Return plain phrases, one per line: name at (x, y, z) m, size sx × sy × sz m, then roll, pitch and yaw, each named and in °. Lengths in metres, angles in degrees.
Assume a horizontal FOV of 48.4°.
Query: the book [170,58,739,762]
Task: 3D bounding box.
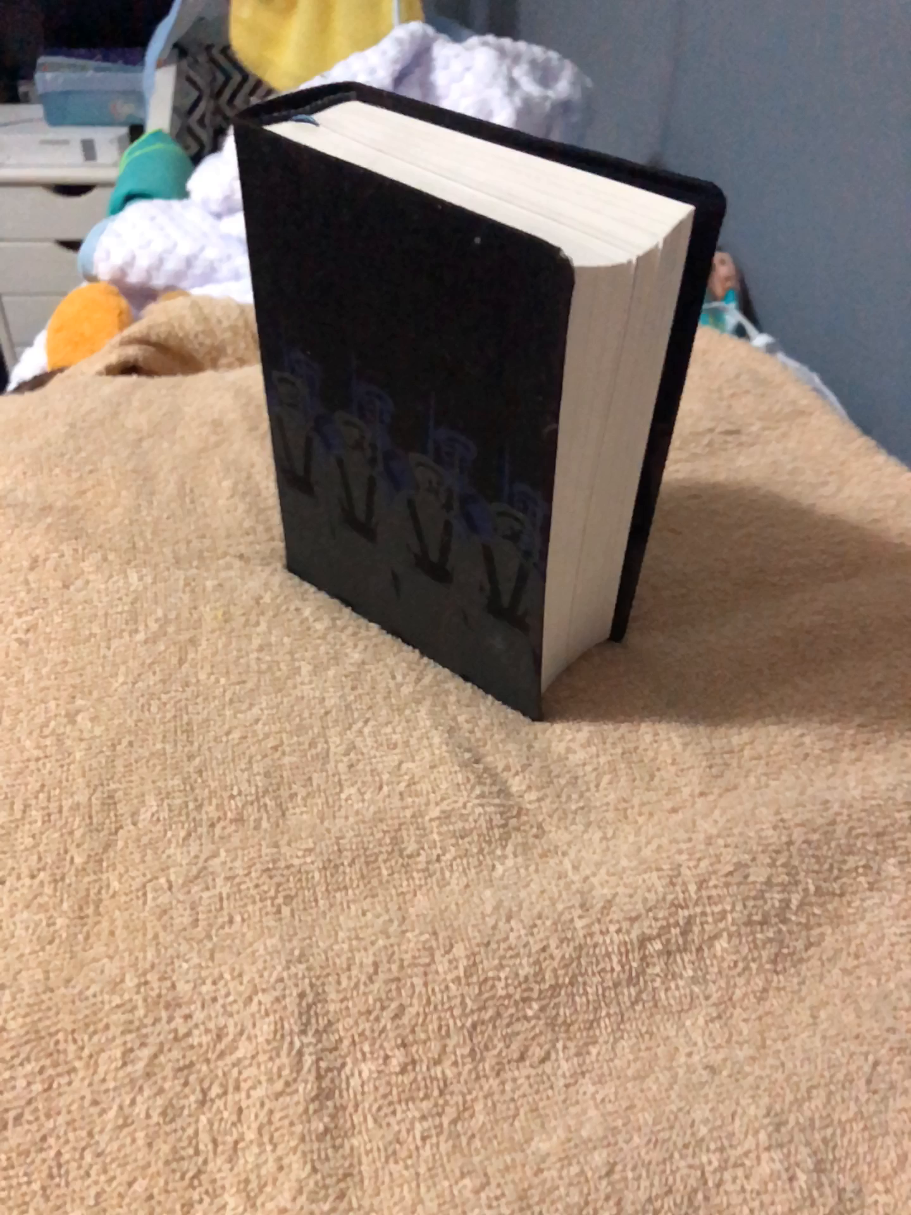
book at (-0.007, -0.062, 0.335) m, size 0.150 × 0.179 × 0.060 m, roll 30°, pitch 49°, yaw 27°
